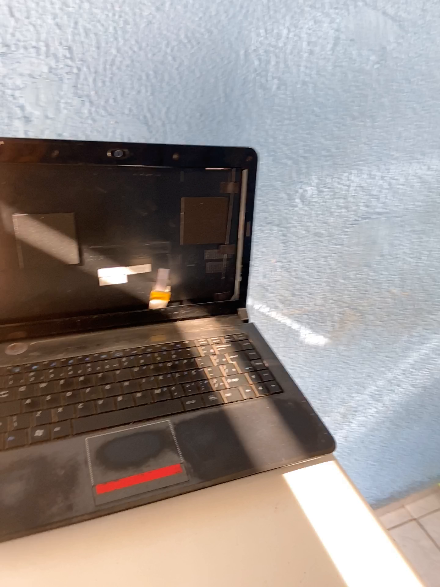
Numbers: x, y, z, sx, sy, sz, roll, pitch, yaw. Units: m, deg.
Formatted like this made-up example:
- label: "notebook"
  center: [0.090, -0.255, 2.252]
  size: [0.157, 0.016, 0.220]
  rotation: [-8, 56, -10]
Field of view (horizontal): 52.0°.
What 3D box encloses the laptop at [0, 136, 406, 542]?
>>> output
- label: "laptop"
  center: [-0.076, 0.003, 0.445]
  size: [0.335, 0.216, 0.277]
  rotation: [-5, 33, -22]
